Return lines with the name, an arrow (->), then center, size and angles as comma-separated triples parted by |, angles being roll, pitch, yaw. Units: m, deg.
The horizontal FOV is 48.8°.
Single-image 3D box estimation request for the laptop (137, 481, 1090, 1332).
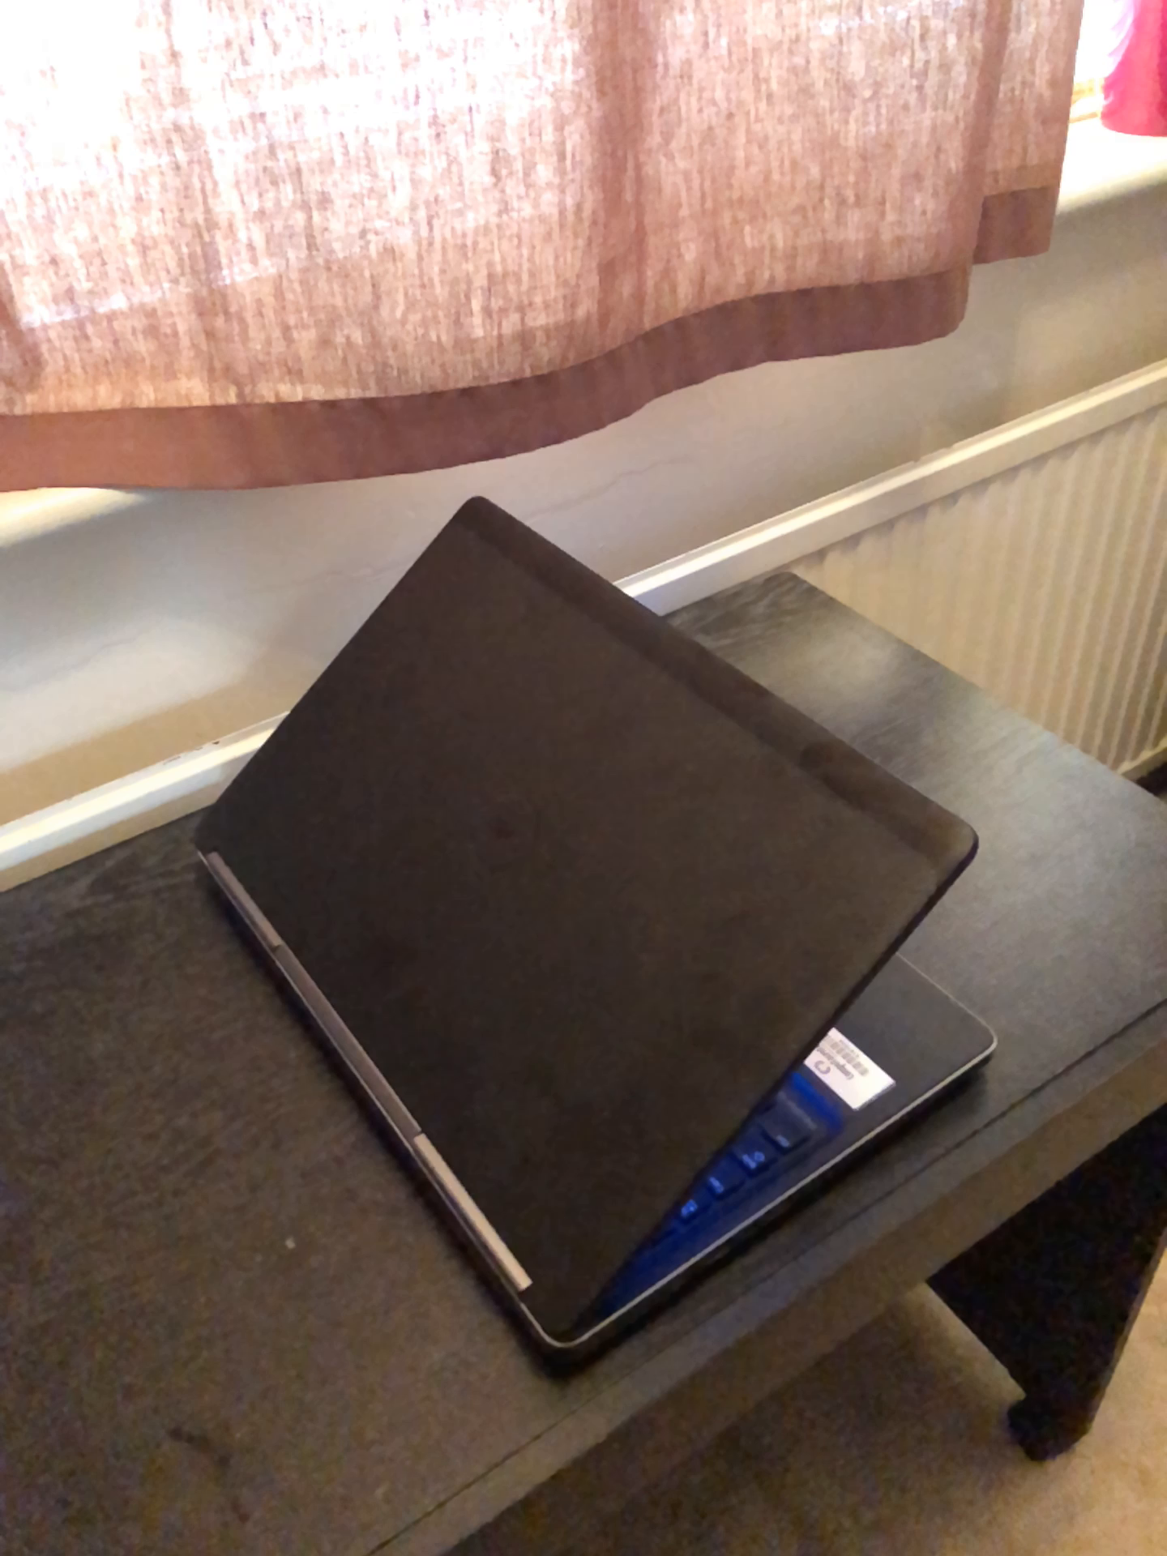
laptop -> -0.010, 0.020, 0.605 | 0.243, 0.134, 0.364 | -25, 44, -24
